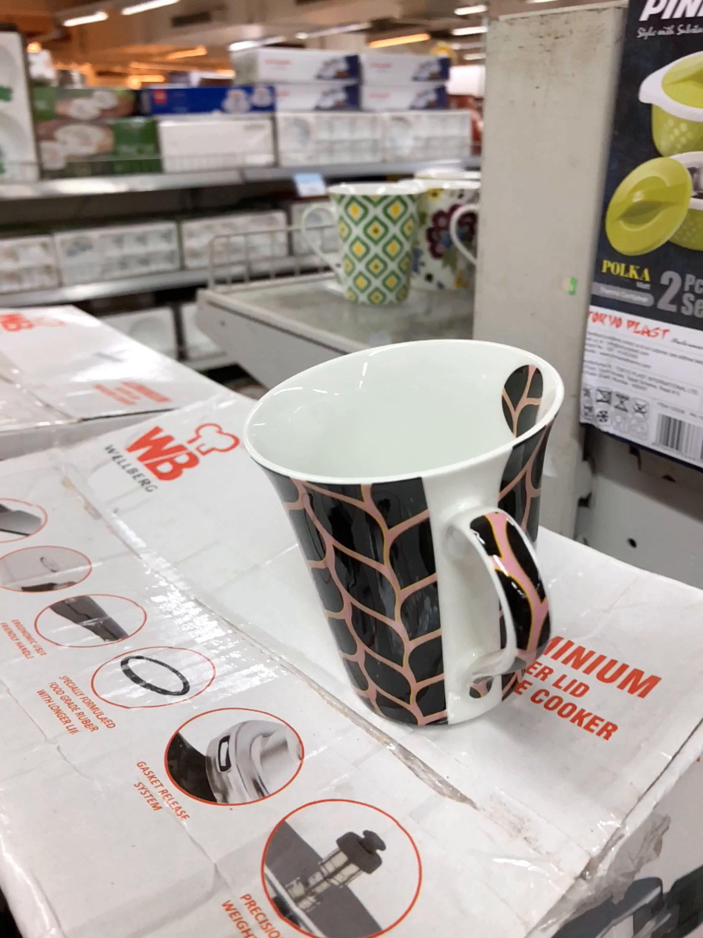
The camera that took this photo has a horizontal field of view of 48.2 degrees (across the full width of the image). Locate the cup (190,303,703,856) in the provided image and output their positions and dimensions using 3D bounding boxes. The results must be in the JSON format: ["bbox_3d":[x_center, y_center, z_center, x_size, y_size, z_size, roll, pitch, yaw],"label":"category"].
[{"bbox_3d":[0.021,0.015,0.212,0.090,0.080,0.110,-17,28,-17],"label":"cup"}]
